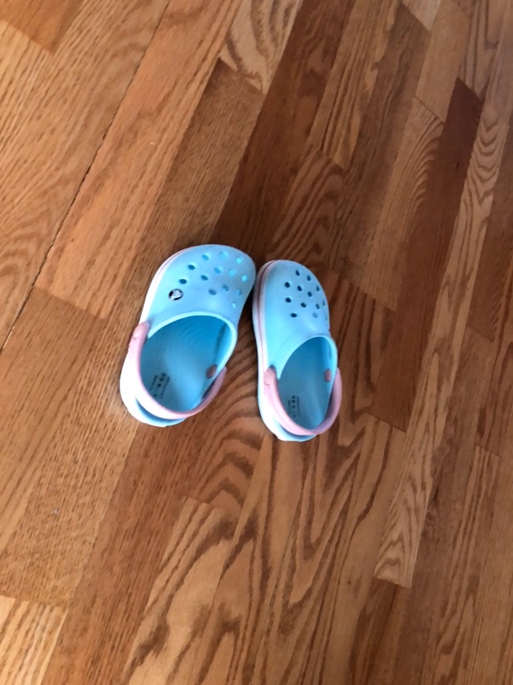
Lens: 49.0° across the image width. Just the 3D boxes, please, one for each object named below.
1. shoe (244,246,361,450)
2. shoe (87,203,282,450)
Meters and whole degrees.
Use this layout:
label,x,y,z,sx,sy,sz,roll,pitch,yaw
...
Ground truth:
label,x,y,z,sx,sy,sz,roll,pitch,yaw
shoe,0.040,0.006,0.497,0.083,0.048,0.165,2,83,-34
shoe,-0.053,-0.010,0.441,0.083,0.057,0.165,29,68,-27
